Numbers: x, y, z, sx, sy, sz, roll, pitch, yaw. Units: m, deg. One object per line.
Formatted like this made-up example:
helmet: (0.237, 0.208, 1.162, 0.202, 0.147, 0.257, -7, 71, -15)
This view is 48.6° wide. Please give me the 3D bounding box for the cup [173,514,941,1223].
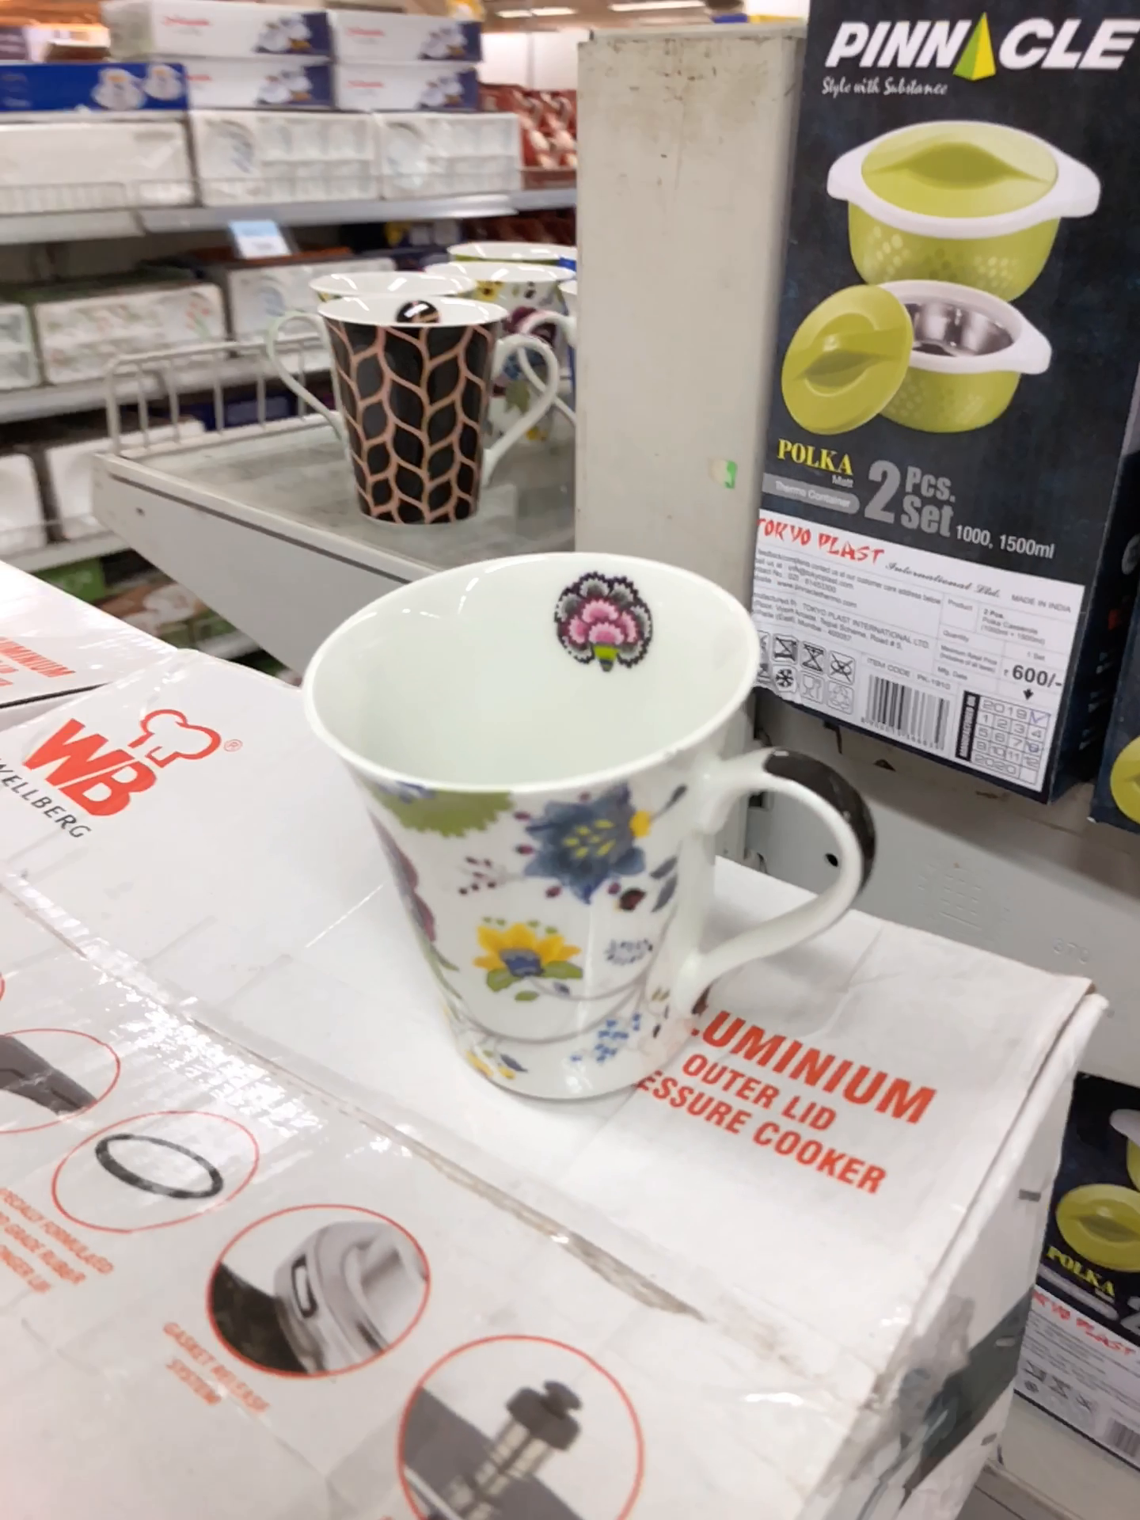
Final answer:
cup: (0.003, 0.015, 0.261, 0.120, 0.089, 0.081, 13, 41, 24)
